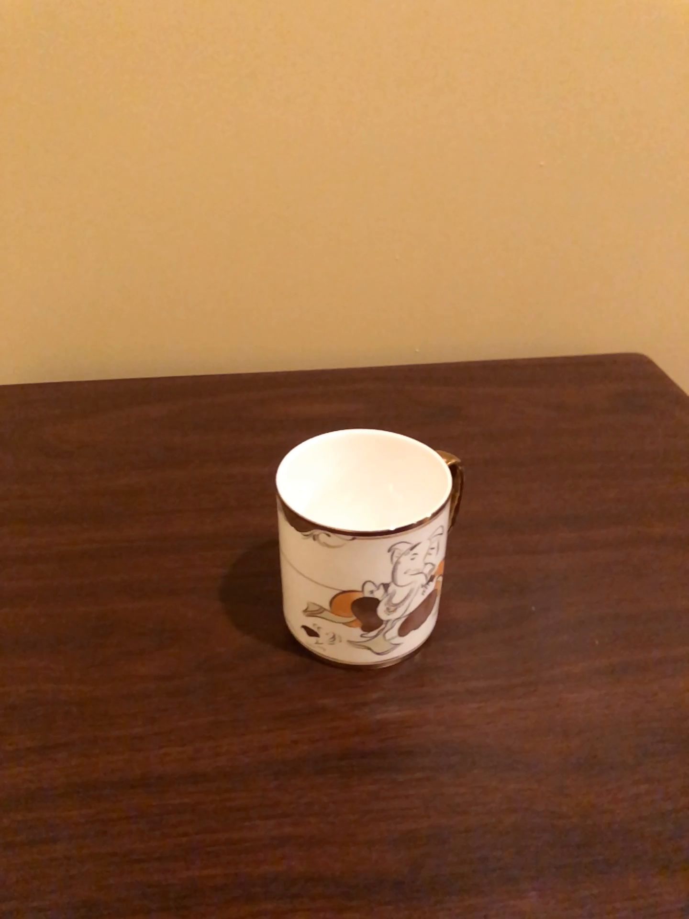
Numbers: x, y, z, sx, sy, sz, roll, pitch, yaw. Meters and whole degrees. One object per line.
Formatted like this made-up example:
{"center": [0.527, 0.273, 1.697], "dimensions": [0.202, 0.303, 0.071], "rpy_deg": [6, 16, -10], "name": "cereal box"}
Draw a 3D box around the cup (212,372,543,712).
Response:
{"center": [0.019, 0.035, 0.416], "dimensions": [0.140, 0.099, 0.100], "rpy_deg": [-27, 42, -36], "name": "cup"}
